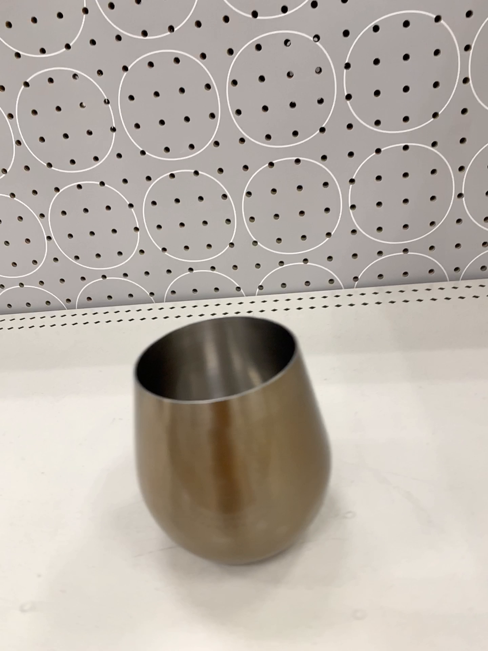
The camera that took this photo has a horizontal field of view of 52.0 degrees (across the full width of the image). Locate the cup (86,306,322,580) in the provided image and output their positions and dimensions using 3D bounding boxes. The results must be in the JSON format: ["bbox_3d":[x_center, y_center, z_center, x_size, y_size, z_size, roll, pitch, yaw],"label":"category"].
[{"bbox_3d":[-0.010,0.053,0.240,0.082,0.090,0.084,-7,26,4],"label":"cup"}]
